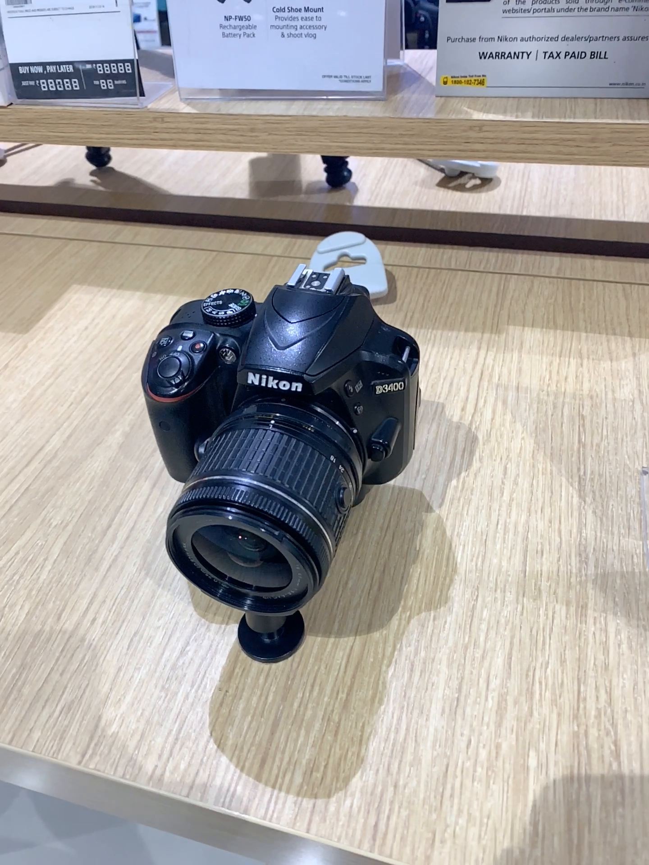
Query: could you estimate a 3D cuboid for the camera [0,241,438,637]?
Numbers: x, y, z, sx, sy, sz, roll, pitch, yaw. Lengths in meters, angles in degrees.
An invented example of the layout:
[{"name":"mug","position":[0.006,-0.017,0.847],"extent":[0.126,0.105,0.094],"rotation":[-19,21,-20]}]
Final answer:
[{"name":"camera","position":[-0.025,-0.004,0.233],"extent":[0.110,0.073,0.100],"rotation":[9,45,12]}]
